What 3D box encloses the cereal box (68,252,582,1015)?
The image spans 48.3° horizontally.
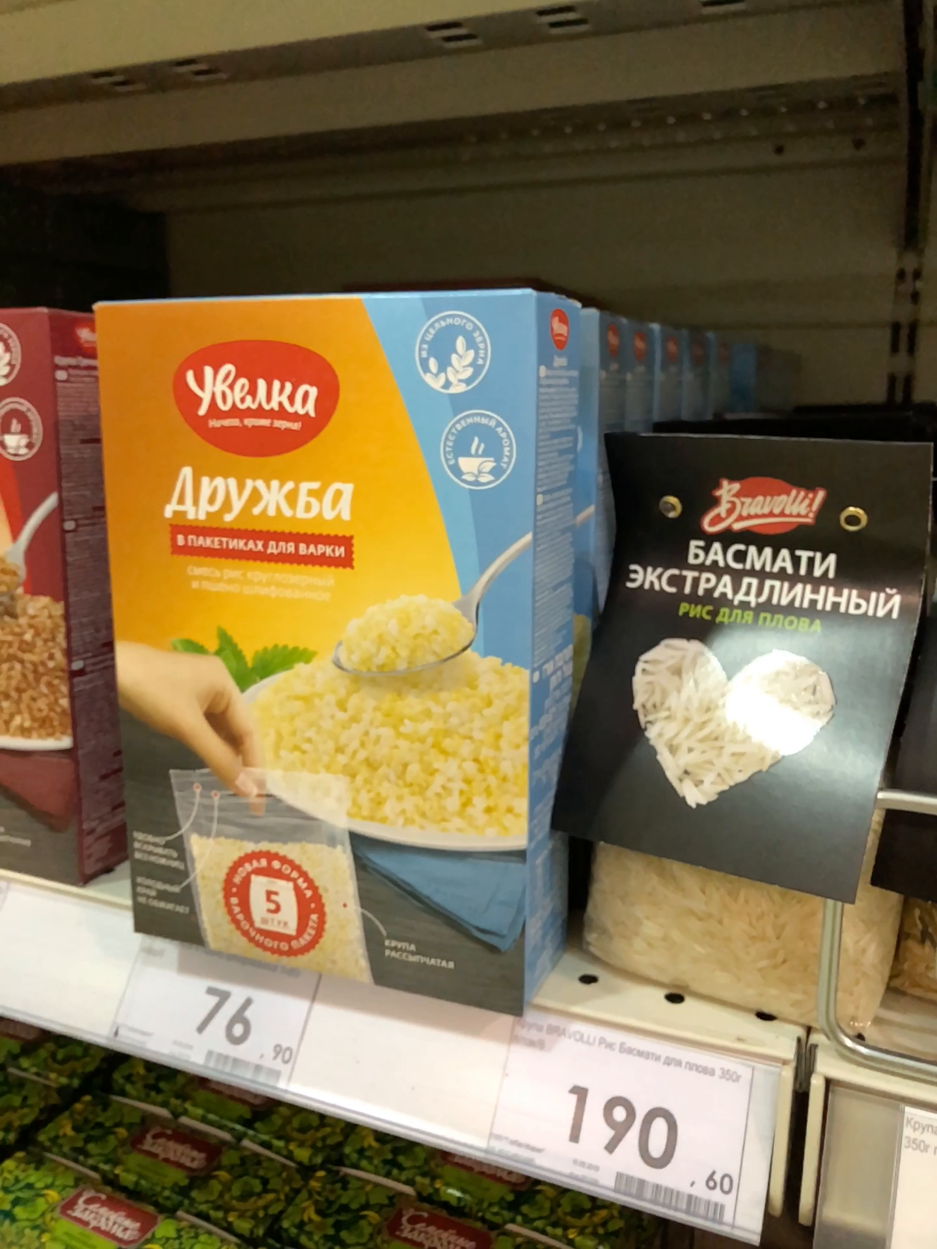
[{"bbox_3d":[-0.039,0.000,0.293,0.130,0.189,0.040,5,13,20],"label":"cereal box"}]
